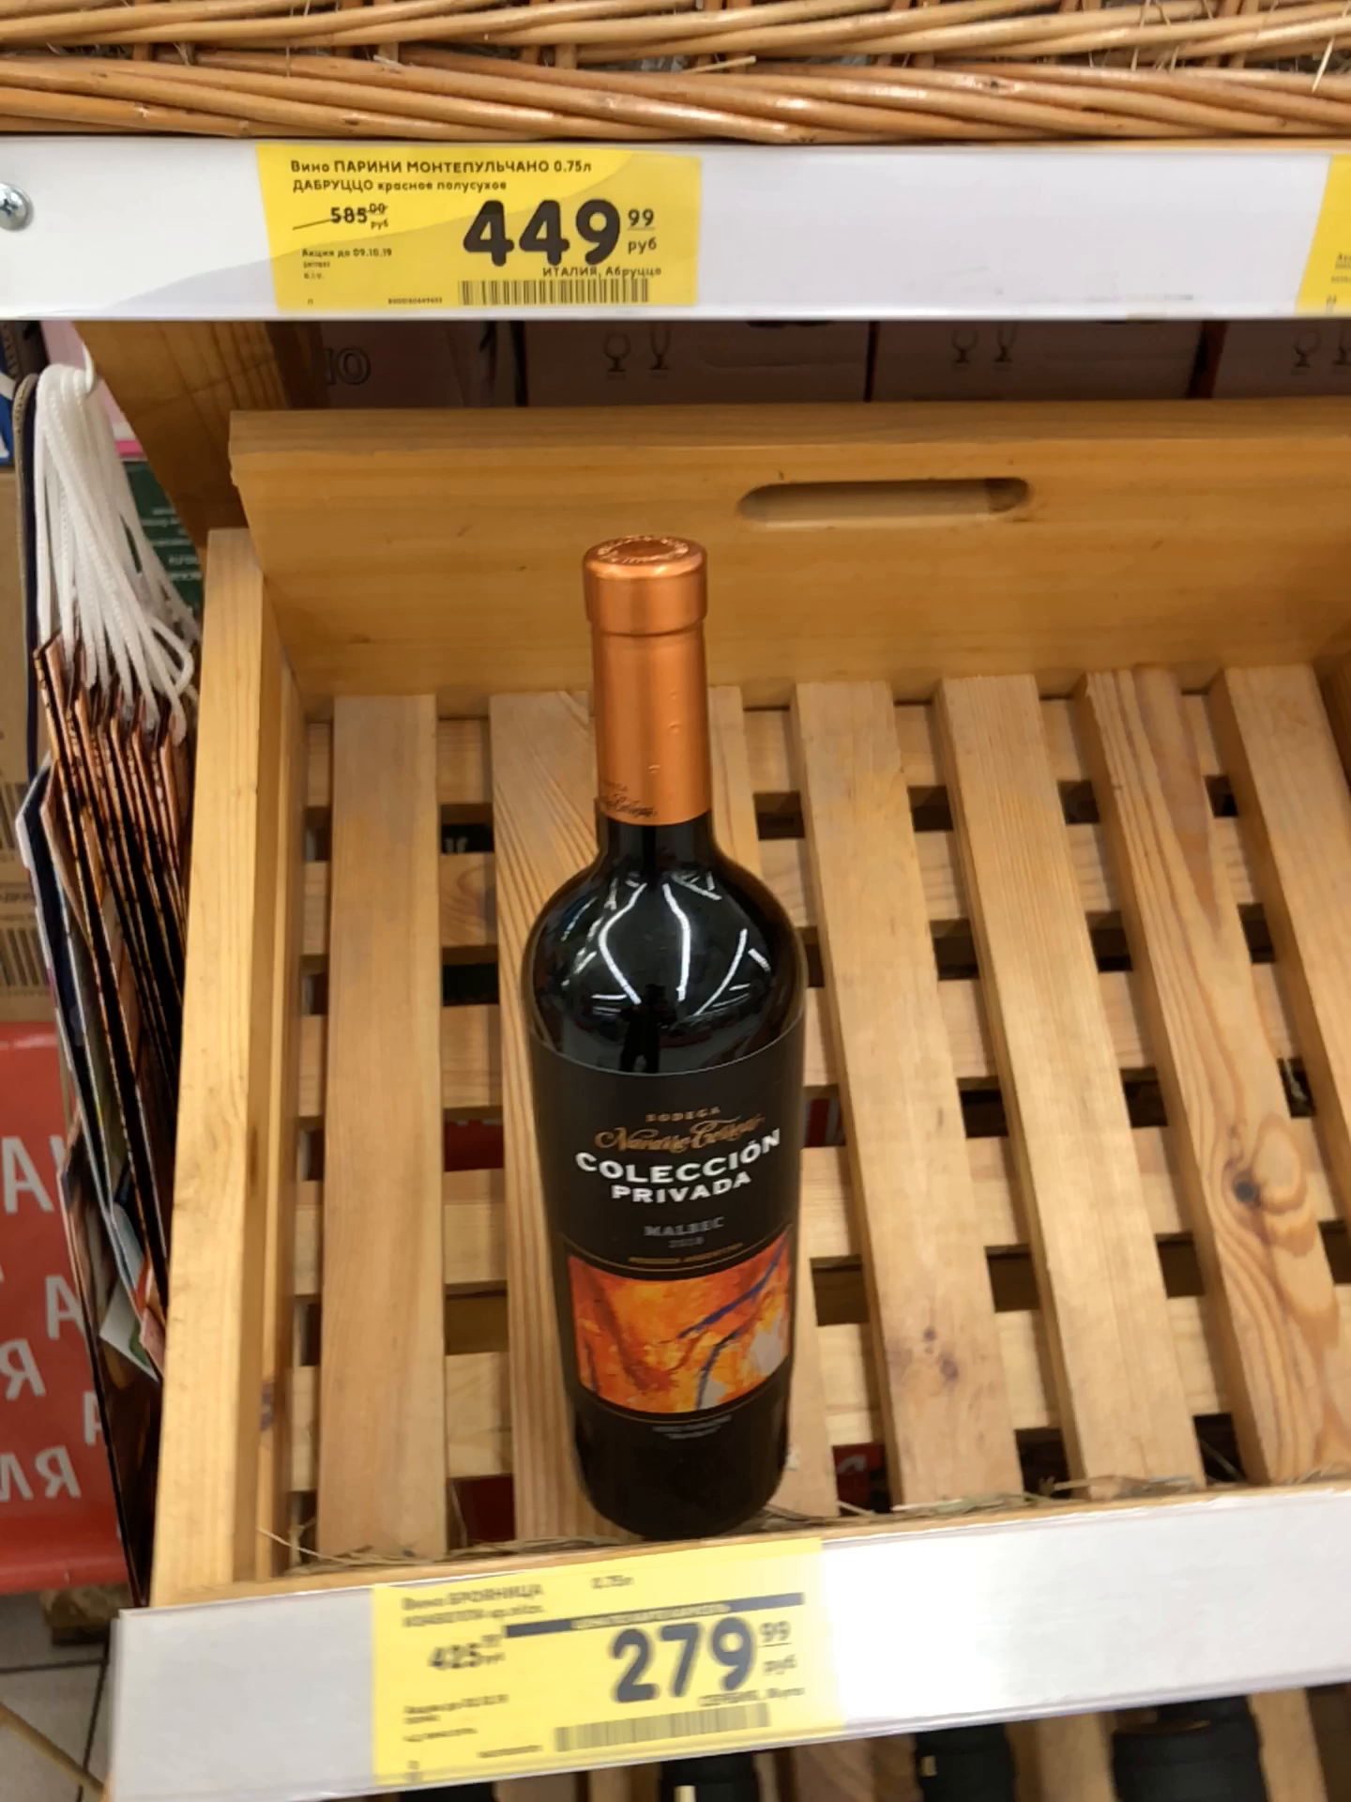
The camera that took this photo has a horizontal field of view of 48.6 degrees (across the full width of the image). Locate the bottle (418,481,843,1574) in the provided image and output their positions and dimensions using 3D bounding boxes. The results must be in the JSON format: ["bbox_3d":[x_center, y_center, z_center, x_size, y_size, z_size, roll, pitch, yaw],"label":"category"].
[{"bbox_3d":[-0.007,0.044,0.404,0.086,0.289,0.080,-2,27,1],"label":"bottle"}]
